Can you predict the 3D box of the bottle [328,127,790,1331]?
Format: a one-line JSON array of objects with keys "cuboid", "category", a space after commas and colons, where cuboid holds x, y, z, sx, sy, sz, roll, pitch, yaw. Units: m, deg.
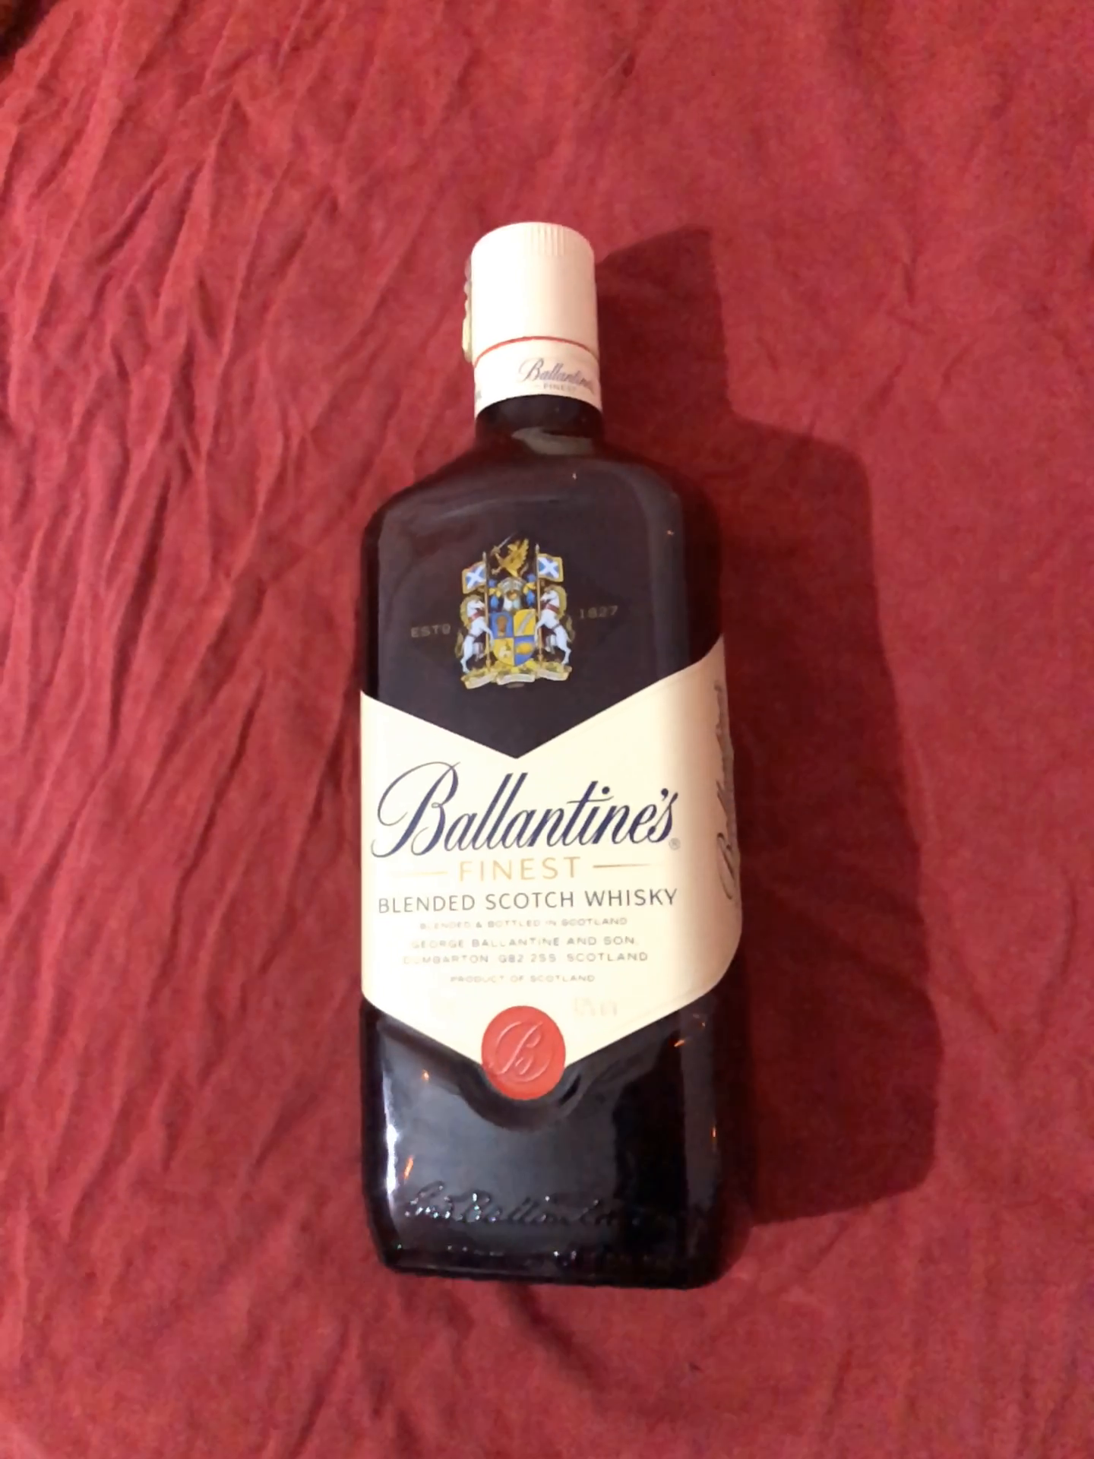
[{"cuboid": [0.002, -0.002, 0.286, 0.090, 0.050, 0.250, -4, 83, 14], "category": "bottle"}]
